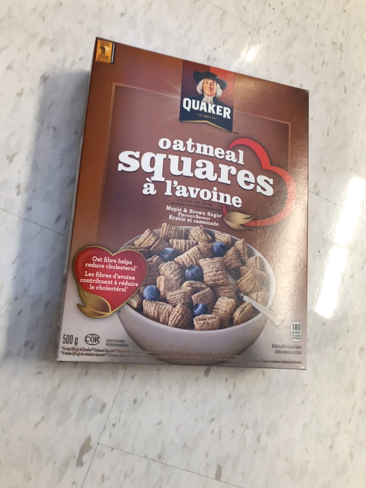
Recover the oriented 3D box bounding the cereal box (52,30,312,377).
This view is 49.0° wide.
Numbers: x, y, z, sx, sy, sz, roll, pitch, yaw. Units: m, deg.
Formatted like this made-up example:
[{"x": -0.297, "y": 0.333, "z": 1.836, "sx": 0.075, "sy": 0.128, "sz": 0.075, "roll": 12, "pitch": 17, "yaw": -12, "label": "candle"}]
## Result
[{"x": 0.007, "y": -0.026, "z": 0.368, "sx": 0.210, "sy": 0.070, "sz": 0.270, "roll": 7, "pitch": 79, "yaw": -16, "label": "cereal box"}]
